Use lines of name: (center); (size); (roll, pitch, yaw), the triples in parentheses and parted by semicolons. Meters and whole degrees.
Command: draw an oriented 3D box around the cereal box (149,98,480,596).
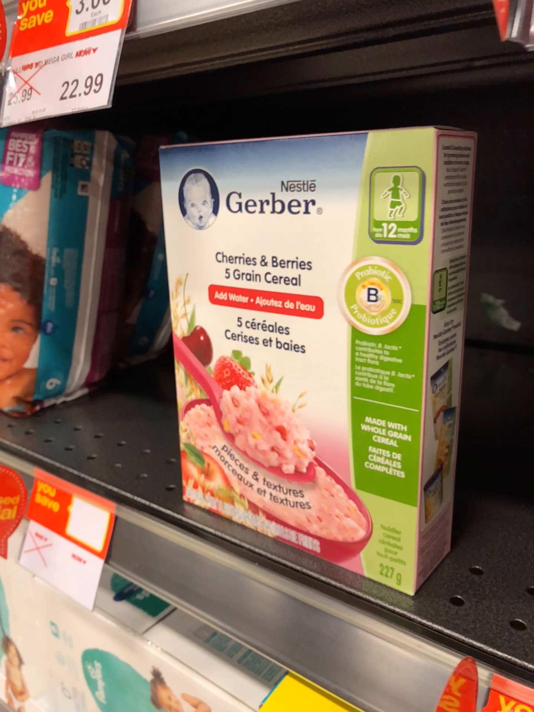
cereal box: (0.015, -0.008, 0.293); (0.150, 0.199, 0.040); (10, 19, 37)
